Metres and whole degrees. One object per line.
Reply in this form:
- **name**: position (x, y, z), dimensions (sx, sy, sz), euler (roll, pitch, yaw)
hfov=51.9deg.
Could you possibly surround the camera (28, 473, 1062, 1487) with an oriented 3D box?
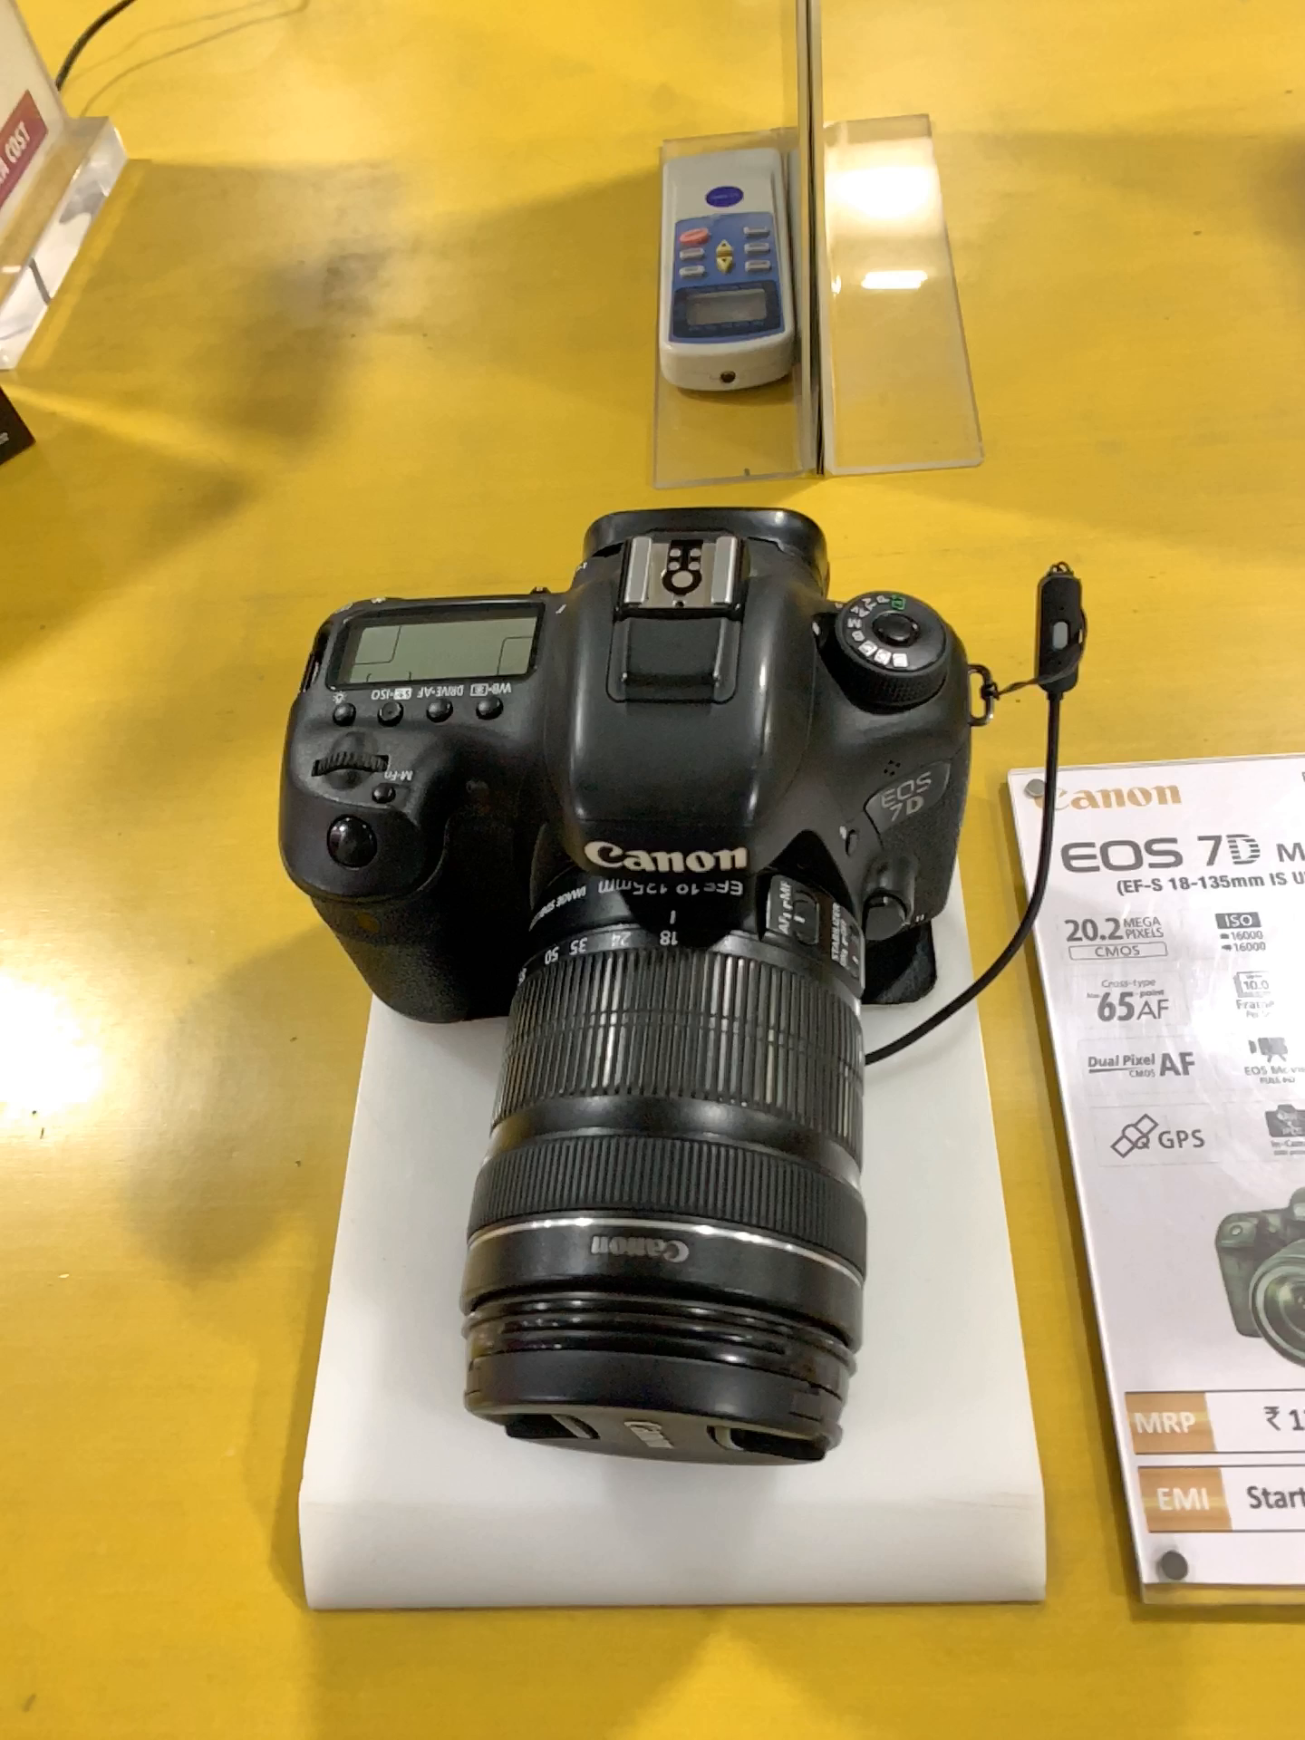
- **camera**: position (-0.006, 0.025, 0.271), dimensions (0.140, 0.120, 0.160), euler (0, 58, 7)
